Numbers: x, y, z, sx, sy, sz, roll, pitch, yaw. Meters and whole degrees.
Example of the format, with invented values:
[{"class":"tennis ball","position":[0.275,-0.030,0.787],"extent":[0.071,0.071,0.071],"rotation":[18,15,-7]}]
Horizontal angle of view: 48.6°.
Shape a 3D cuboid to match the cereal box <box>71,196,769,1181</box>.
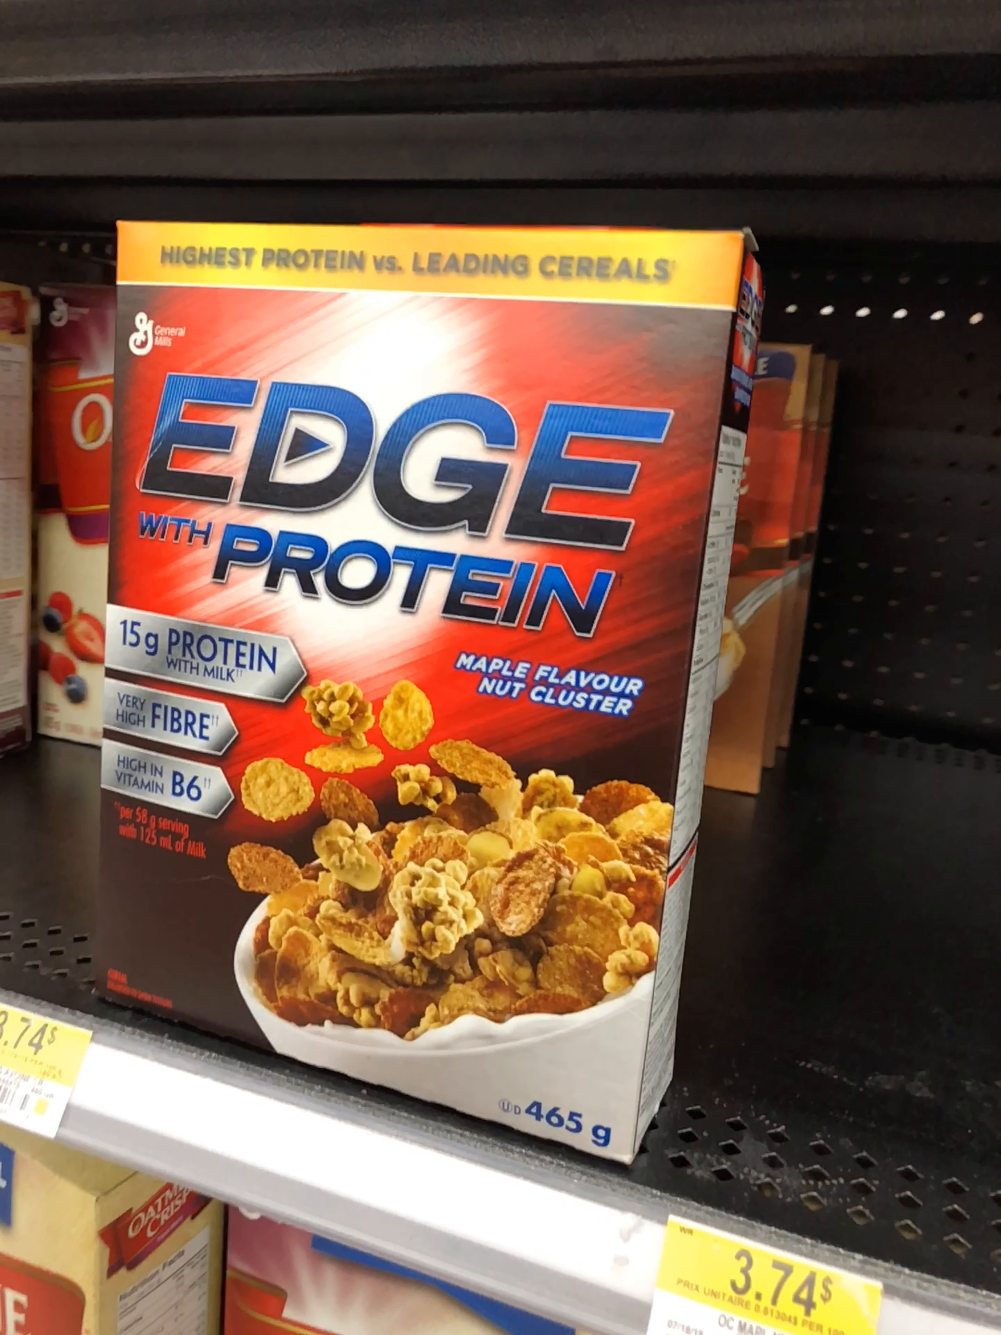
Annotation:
[{"class":"cereal box","position":[-0.036,-0.004,0.360],"extent":[0.200,0.269,0.060],"rotation":[9,11,21]}]
